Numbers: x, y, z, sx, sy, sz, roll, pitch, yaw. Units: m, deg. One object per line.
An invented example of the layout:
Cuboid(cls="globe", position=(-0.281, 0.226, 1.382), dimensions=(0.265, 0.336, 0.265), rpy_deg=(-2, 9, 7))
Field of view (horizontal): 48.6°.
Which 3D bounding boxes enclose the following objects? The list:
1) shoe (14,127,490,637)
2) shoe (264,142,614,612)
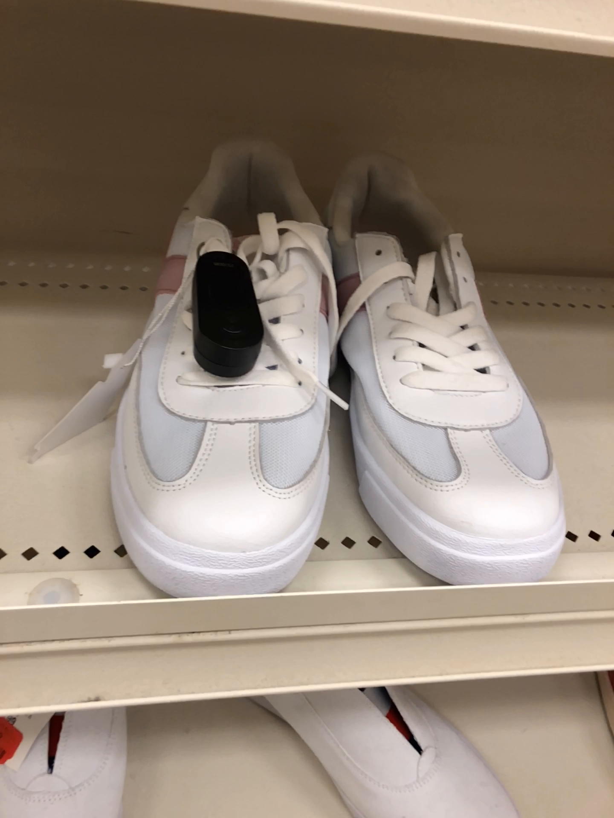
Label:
Cuboid(cls="shoe", position=(-0.036, -0.068, 0.371), dimensions=(0.120, 0.119, 0.393), rpy_deg=(2, 27, -7))
Cuboid(cls="shoe", position=(0.063, -0.069, 0.405), dimensions=(0.120, 0.119, 0.393), rpy_deg=(0, 27, -12))
